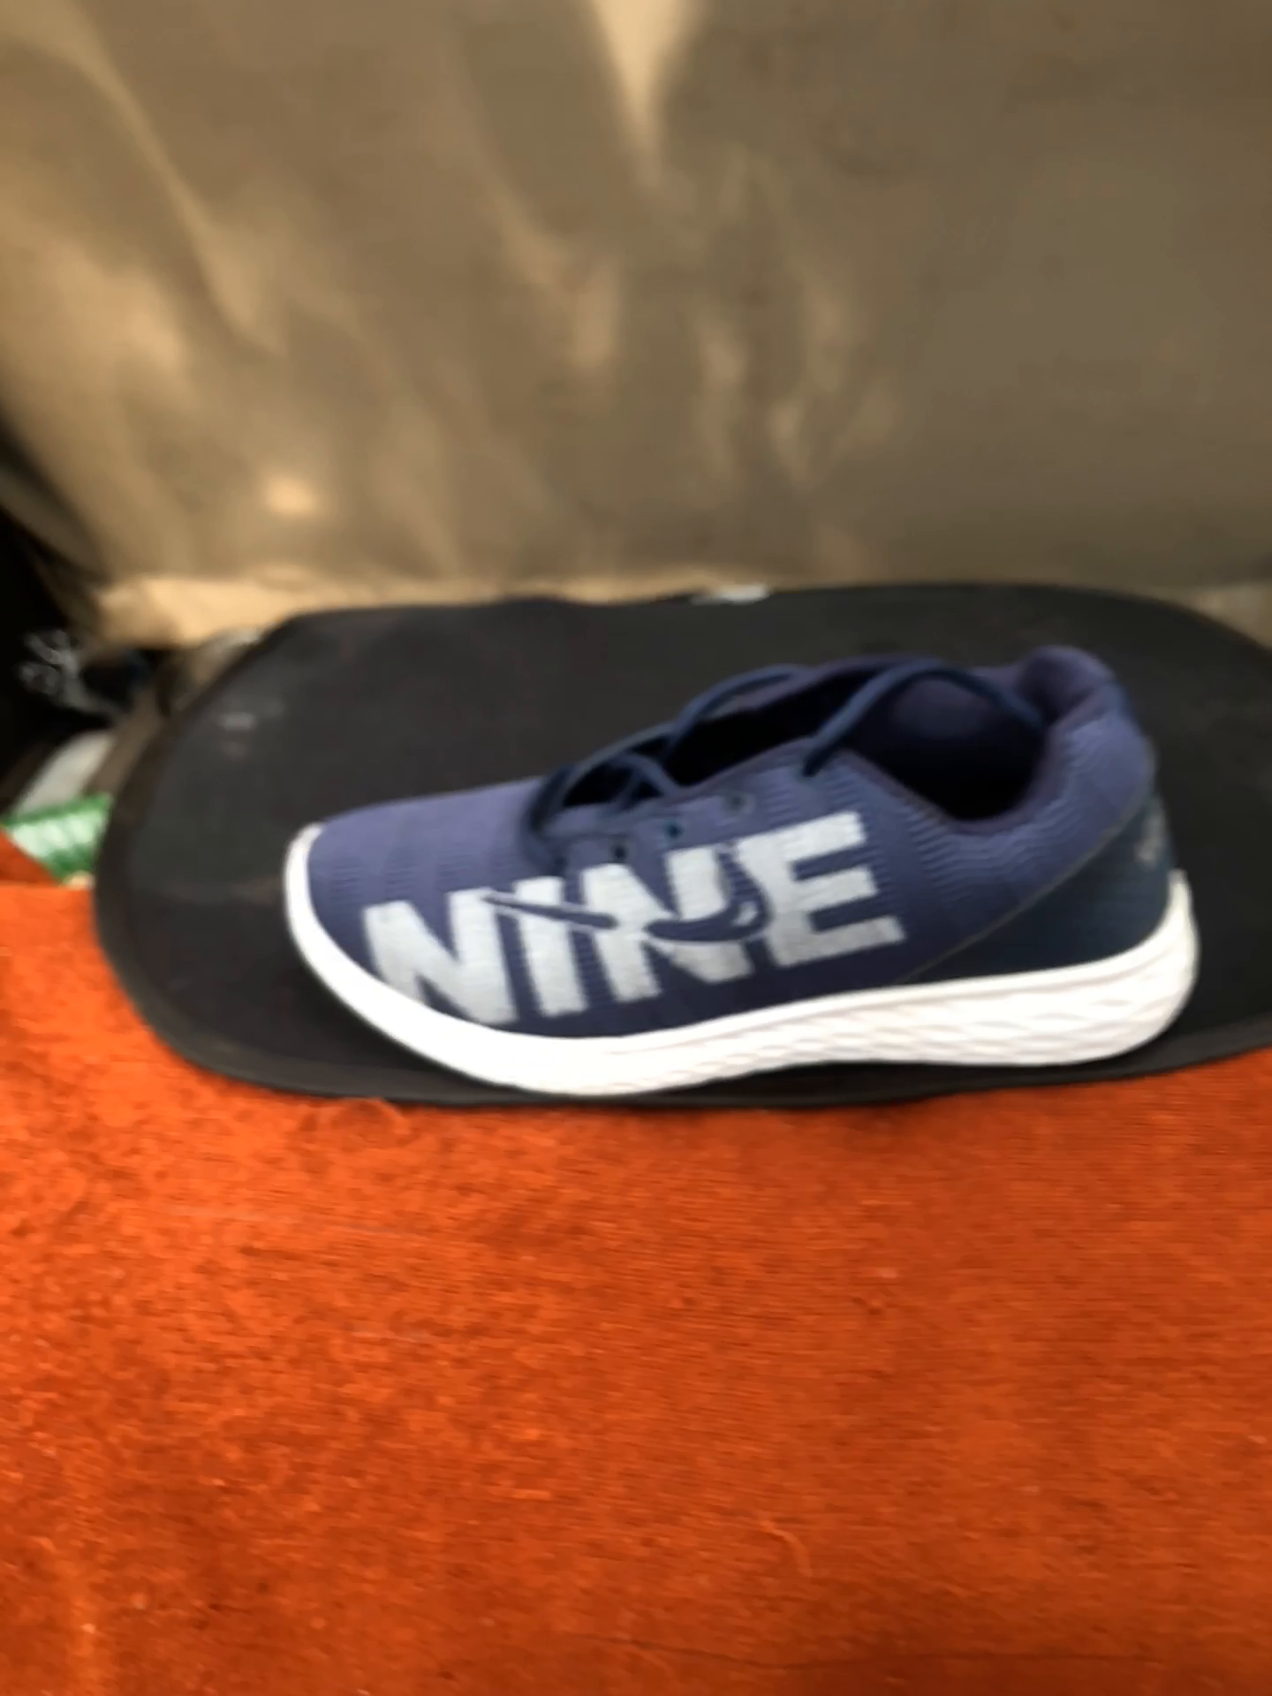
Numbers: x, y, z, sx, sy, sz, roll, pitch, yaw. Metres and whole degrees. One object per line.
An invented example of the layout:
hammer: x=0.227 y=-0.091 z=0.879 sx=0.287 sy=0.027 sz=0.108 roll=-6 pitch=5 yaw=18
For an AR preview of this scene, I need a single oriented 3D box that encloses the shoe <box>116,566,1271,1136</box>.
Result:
shoe: x=0.026 y=-0.002 z=0.418 sx=0.290 sy=0.099 sz=0.131 roll=-1 pitch=37 yaw=8
